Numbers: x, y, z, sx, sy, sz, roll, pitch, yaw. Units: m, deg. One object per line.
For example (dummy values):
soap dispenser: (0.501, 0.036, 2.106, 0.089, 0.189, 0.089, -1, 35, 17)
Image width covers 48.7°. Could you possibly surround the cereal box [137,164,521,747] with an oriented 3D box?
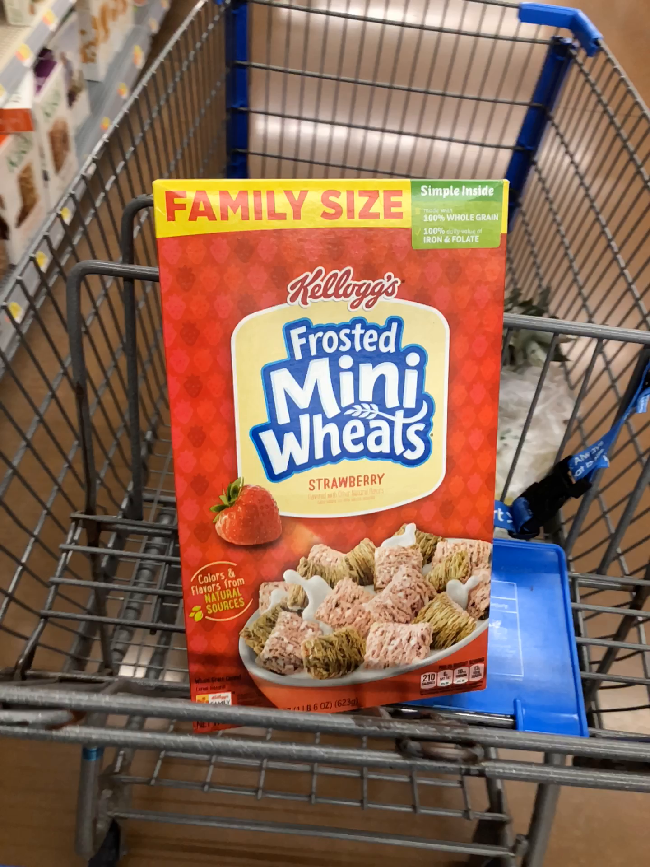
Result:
cereal box: (0.007, 0.012, 0.436, 0.200, 0.320, 0.070, -5, 14, -11)
